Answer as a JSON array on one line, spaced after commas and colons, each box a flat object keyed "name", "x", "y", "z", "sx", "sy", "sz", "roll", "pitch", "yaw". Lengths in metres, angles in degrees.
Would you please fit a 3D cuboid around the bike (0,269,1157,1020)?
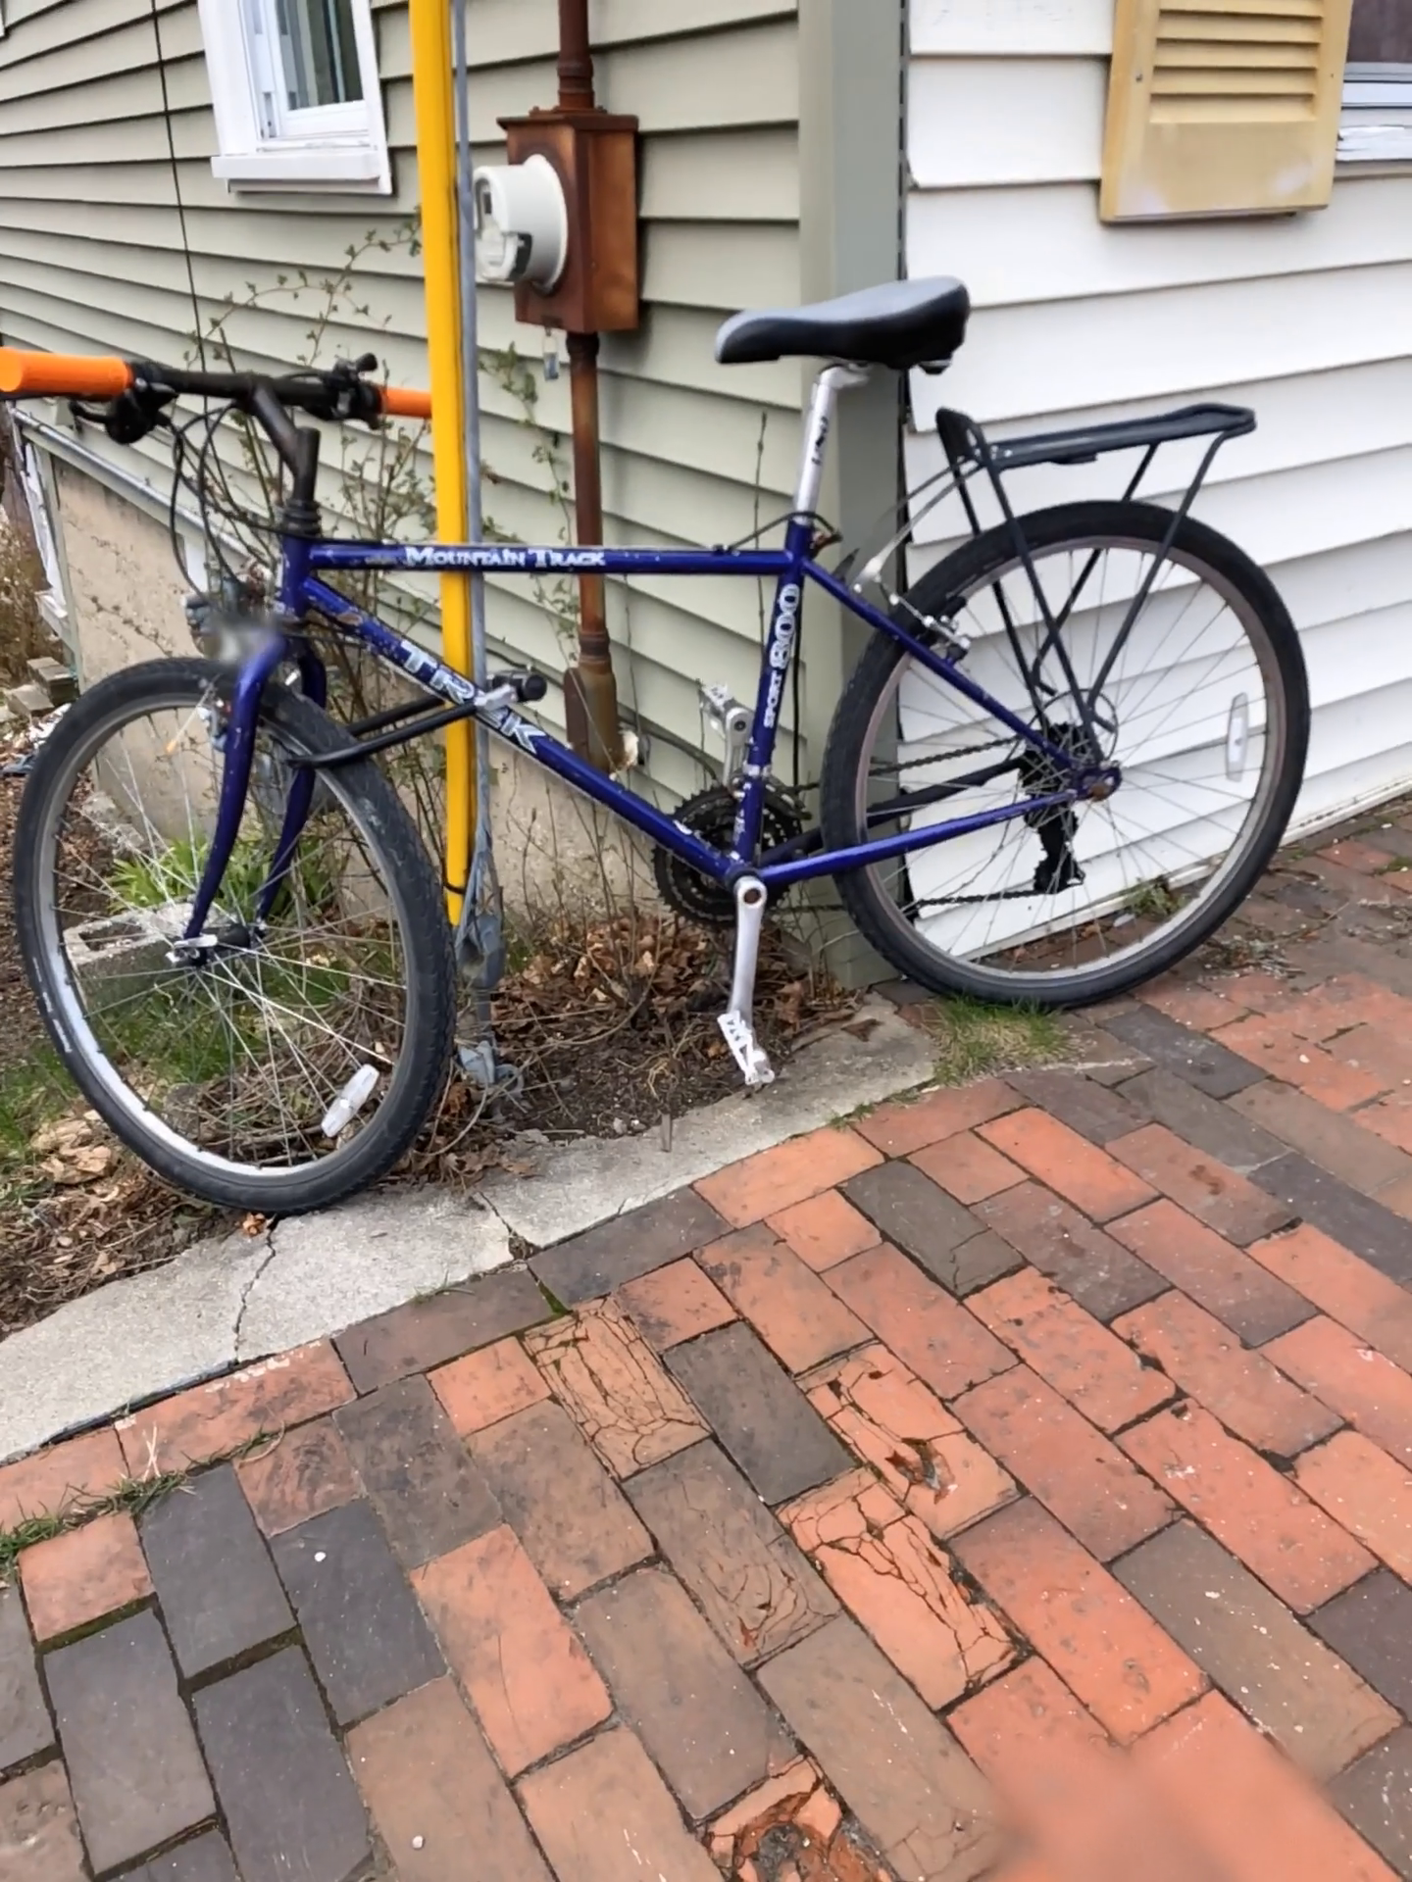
[{"name": "bike", "x": -0.227, "y": -0.354, "z": 1.769, "sx": 1.146, "sy": 0.690, "sz": 0.515, "roll": -3, "pitch": 27, "yaw": 0}]
